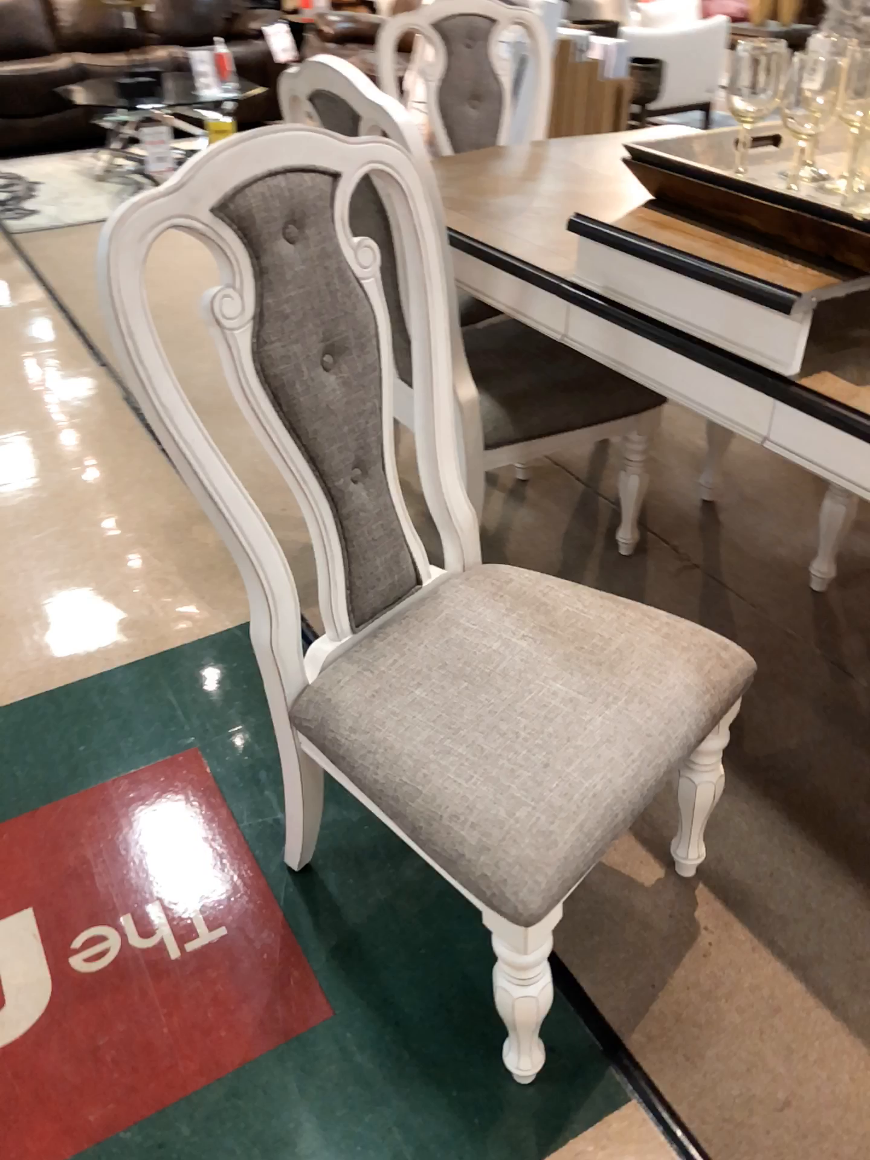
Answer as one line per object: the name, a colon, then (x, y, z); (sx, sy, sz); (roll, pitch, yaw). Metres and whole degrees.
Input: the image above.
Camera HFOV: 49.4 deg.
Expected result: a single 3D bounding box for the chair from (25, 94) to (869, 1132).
chair: (0.034, 0.009, 1.210); (0.672, 1.013, 0.552); (27, 44, 34)
